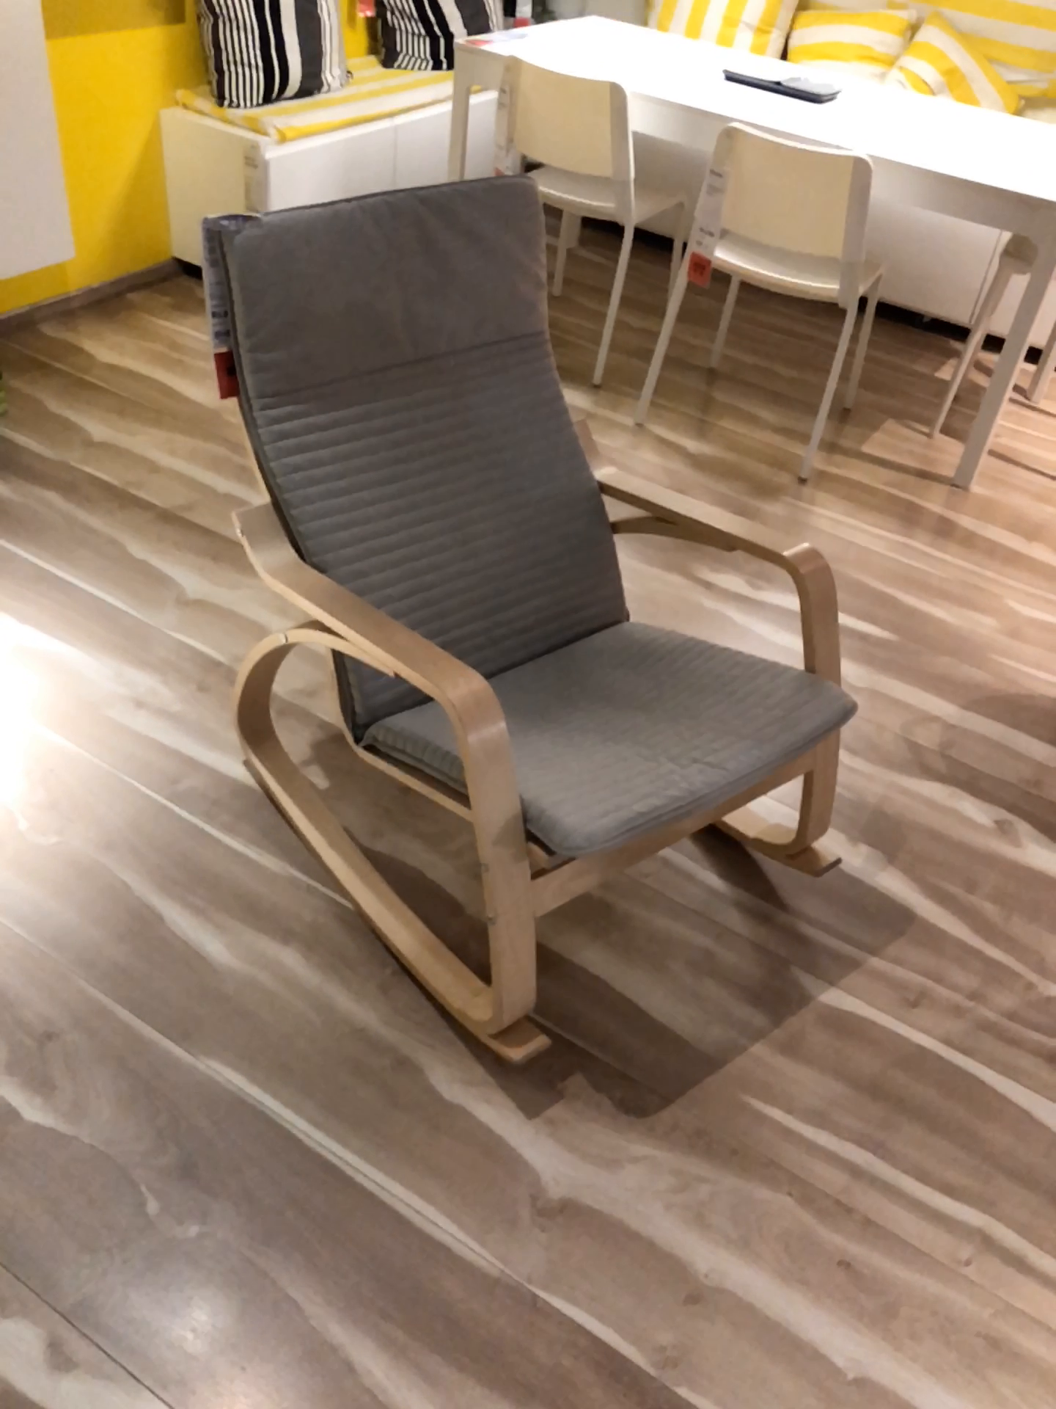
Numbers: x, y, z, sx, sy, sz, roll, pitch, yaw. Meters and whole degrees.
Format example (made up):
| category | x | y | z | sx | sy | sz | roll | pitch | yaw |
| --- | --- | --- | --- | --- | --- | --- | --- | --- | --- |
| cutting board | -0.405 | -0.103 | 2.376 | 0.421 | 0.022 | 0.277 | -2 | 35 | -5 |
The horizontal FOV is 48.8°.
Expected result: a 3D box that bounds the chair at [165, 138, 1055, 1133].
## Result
| category | x | y | z | sx | sy | sz | roll | pitch | yaw |
| --- | --- | --- | --- | --- | --- | --- | --- | --- | --- |
| chair | 0.062 | -0.137 | 1.584 | 0.752 | 0.944 | 0.703 | -24 | 49 | -32 |
